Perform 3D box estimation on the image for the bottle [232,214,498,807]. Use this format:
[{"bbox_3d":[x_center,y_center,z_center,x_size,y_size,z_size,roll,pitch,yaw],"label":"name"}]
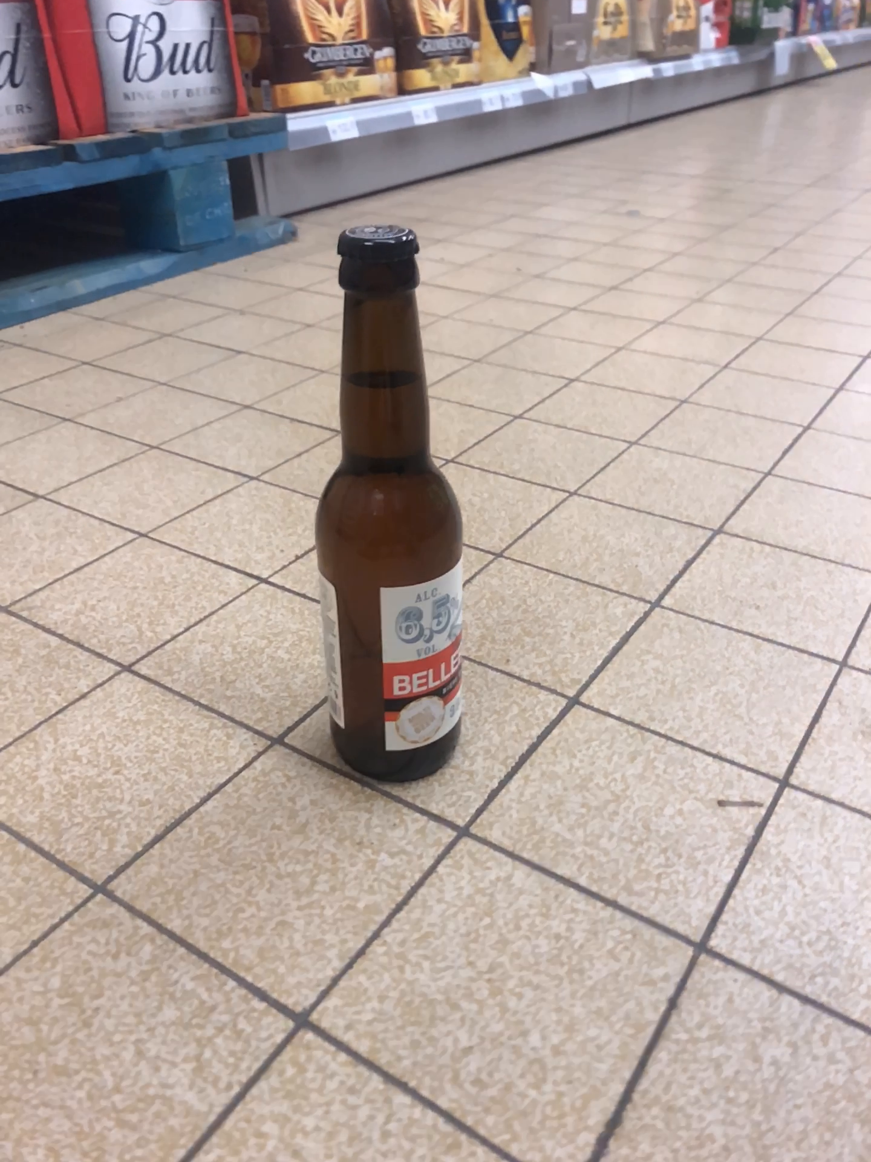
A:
[{"bbox_3d":[-0.020,-0.021,0.376,0.070,0.219,0.060,10,33,18],"label":"bottle"}]
